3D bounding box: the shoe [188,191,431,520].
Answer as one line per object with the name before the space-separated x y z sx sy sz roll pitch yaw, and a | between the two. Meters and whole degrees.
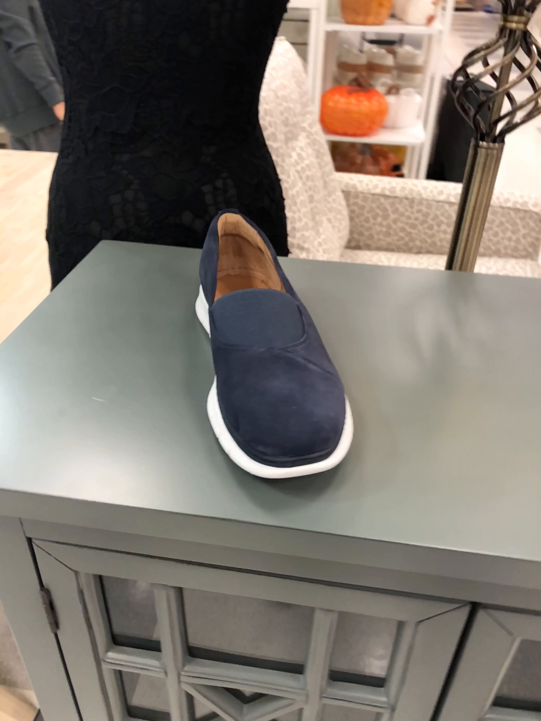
shoe | 0.005 -0.029 0.438 0.109 0.102 0.272 -4 34 -9
